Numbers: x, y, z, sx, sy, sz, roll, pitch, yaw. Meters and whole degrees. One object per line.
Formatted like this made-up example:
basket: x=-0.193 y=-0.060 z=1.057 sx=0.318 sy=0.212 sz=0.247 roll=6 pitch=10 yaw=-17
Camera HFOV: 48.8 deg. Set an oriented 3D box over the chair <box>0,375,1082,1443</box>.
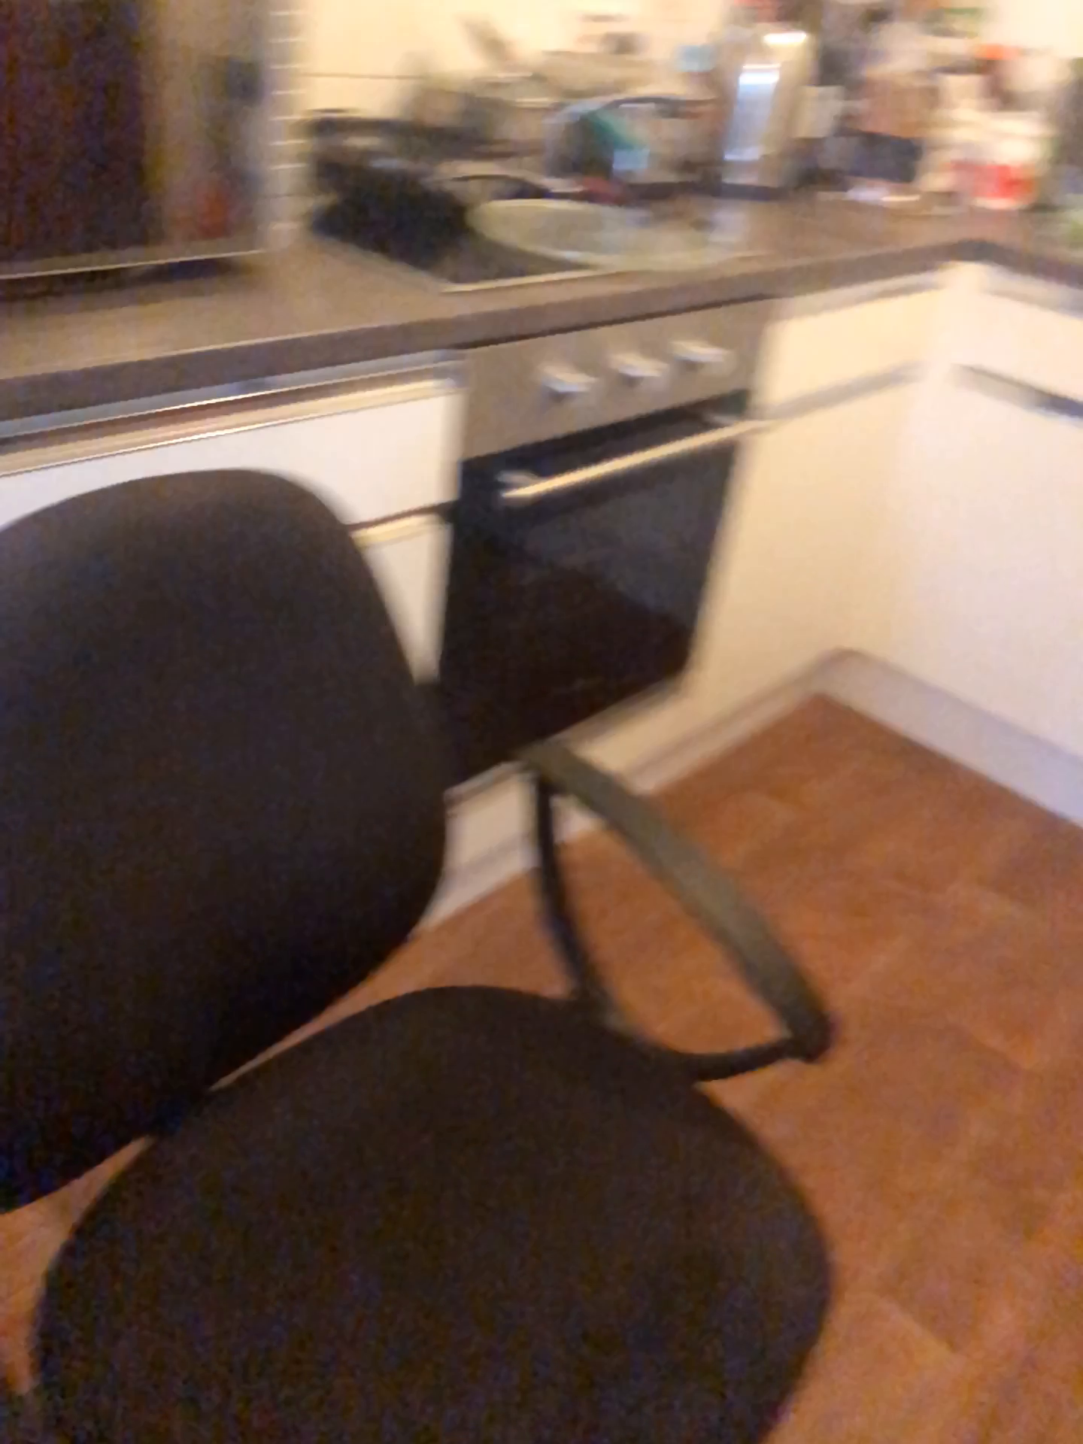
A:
chair: x=-0.084 y=0.335 z=0.836 sx=0.644 sy=0.882 sz=0.638 roll=30 pitch=38 yaw=29
